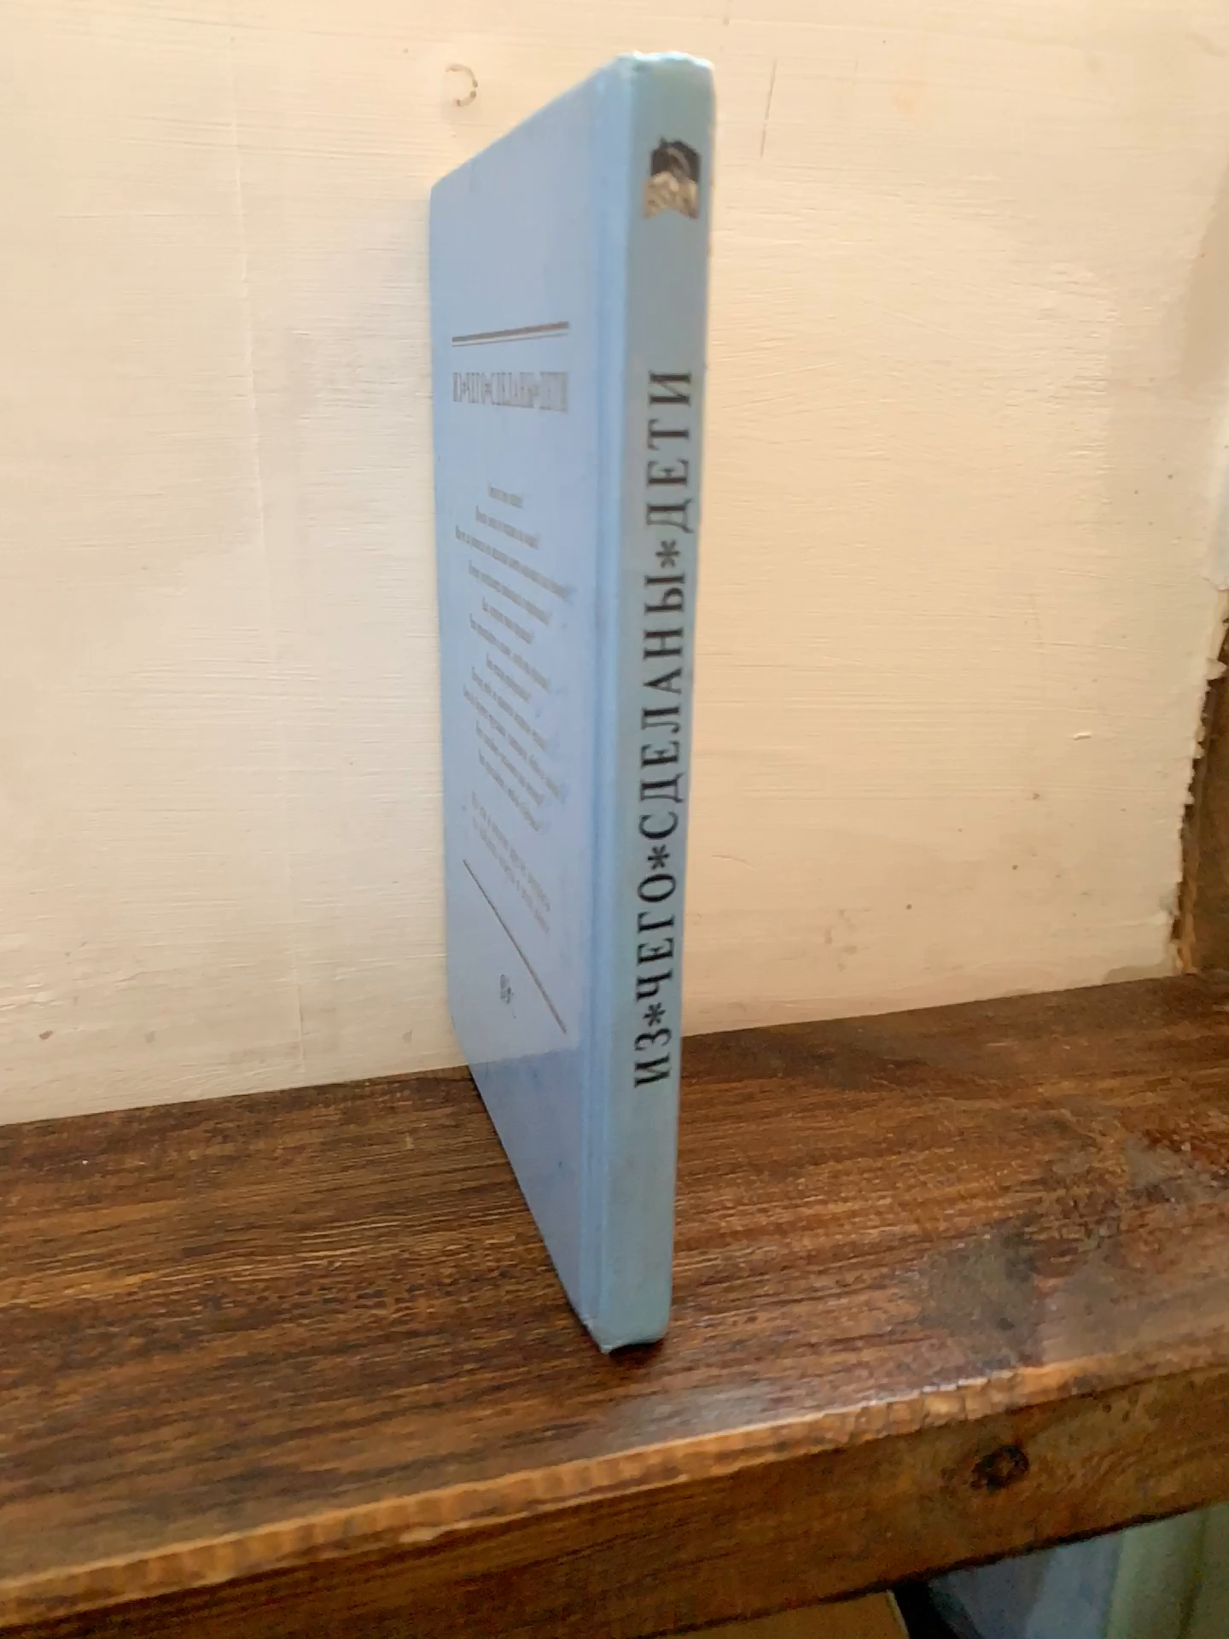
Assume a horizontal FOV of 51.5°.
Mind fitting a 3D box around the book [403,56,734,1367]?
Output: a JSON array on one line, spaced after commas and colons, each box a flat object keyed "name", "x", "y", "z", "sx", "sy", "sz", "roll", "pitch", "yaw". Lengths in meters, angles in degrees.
[{"name": "book", "x": -0.016, "y": -0.022, "z": 0.246, "sx": 0.020, "sy": 0.195, "sz": 0.131, "roll": -5, "pitch": 20, "yaw": -18}]
